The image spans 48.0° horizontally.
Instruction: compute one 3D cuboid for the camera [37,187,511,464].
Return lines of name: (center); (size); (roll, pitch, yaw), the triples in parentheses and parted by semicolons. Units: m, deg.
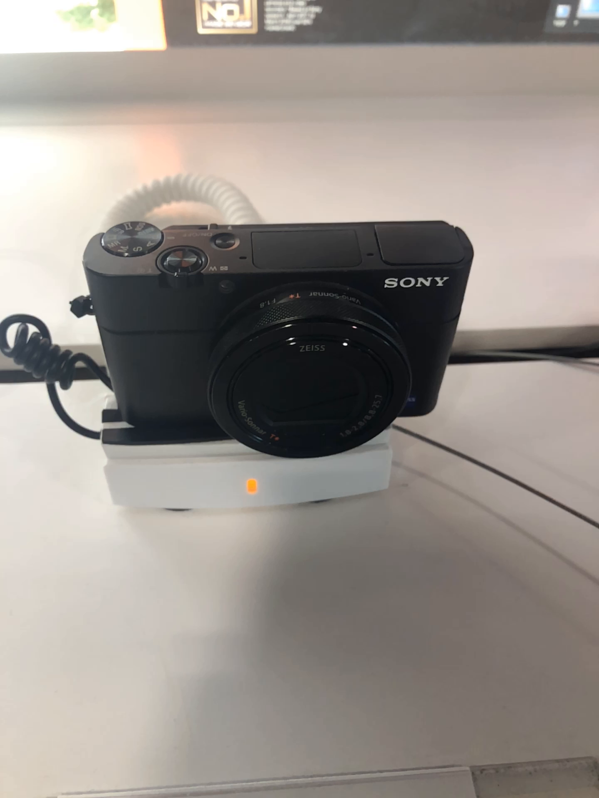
camera: (-0.006, -0.018, 0.177); (0.101, 0.063, 0.032); (-2, 46, -3)
